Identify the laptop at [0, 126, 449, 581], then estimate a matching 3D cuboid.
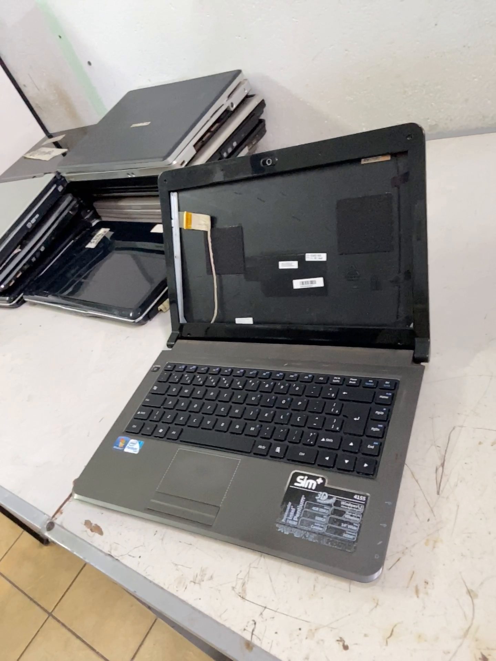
[{"bbox_3d":[-0.012,-0.007,0.526,0.343,0.174,0.366,1,46,32],"label":"laptop"}]
